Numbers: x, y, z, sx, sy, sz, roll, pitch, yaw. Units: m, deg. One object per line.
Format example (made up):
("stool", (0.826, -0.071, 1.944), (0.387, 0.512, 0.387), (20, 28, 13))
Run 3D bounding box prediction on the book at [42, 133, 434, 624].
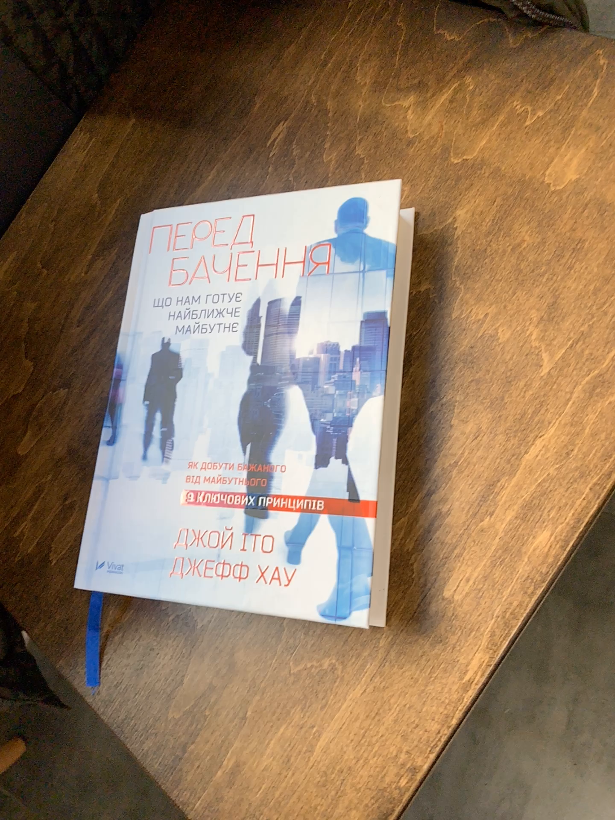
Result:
("book", (-0.027, -0.017, 0.287), (0.149, 0.040, 0.196), (1, 75, 22))
